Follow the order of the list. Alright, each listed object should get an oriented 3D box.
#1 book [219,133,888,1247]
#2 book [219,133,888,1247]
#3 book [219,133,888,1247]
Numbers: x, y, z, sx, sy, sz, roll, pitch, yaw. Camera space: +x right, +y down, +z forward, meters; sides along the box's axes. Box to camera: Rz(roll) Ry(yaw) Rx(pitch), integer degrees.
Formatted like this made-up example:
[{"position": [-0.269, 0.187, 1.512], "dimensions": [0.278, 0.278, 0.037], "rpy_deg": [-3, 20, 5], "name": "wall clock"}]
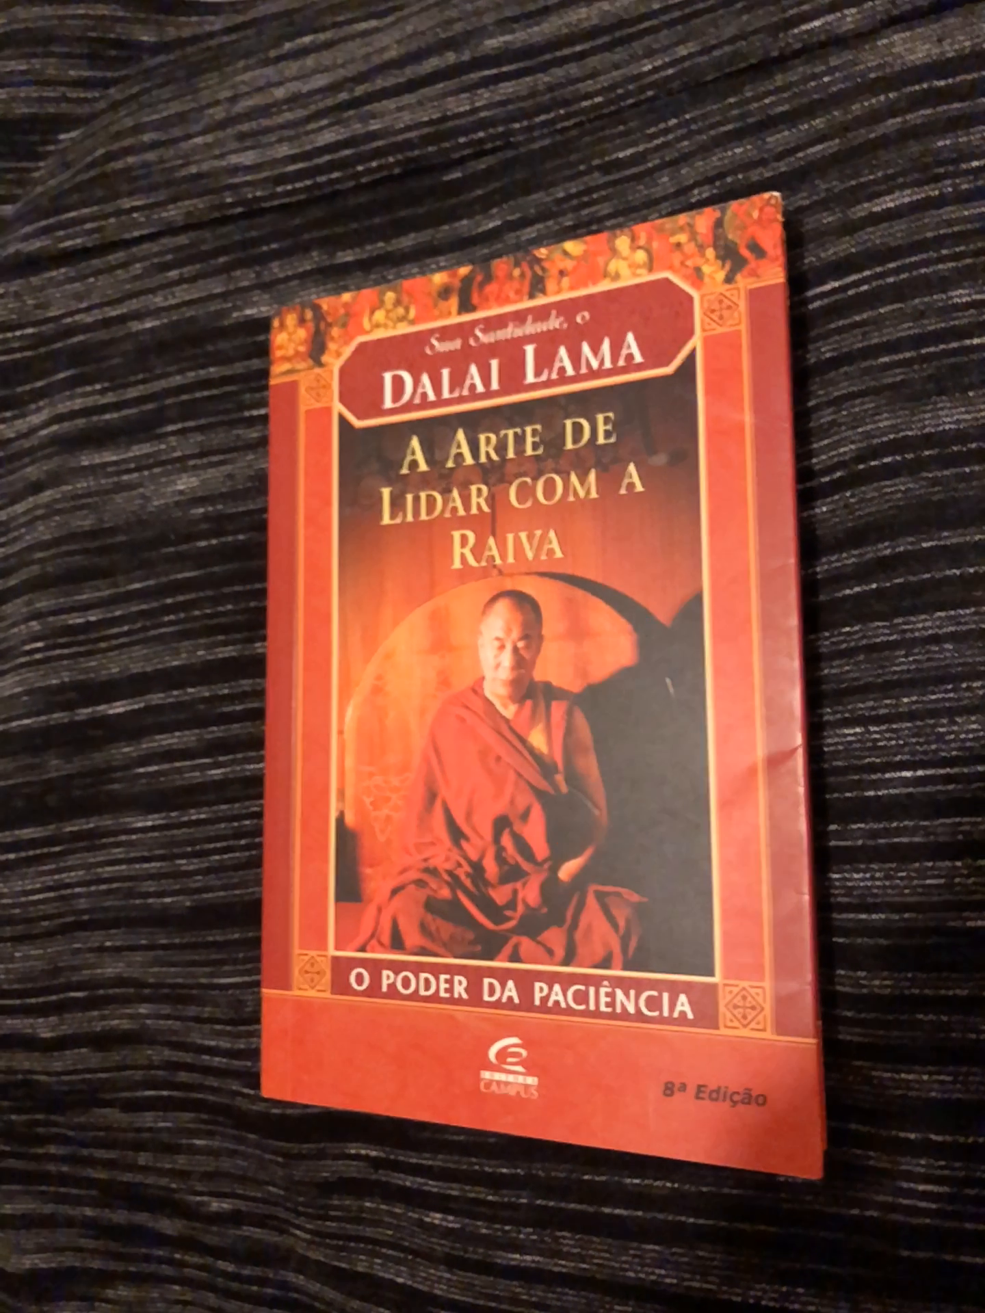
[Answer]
[{"position": [0.008, 0.005, 0.261], "dimensions": [0.150, 0.030, 0.220], "rpy_deg": [-4, 82, 25], "name": "book"}, {"position": [0.008, 0.005, 0.261], "dimensions": [0.150, 0.030, 0.220], "rpy_deg": [-4, 82, 25], "name": "book"}, {"position": [0.008, 0.005, 0.261], "dimensions": [0.150, 0.030, 0.220], "rpy_deg": [-4, 82, 25], "name": "book"}]
